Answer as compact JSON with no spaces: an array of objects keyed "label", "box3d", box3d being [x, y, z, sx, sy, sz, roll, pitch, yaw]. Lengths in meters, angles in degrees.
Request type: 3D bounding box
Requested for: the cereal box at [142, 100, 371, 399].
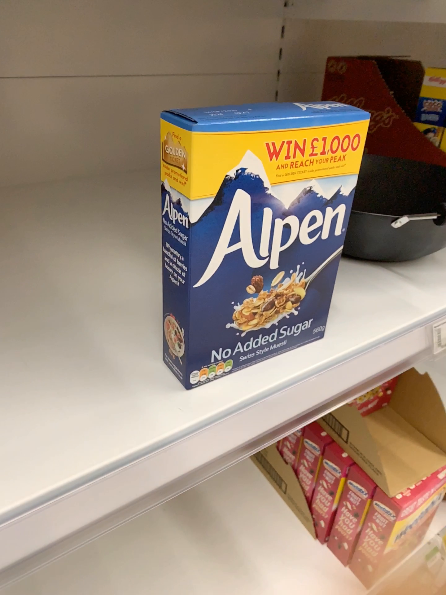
[{"label":"cereal box","box3d":[0.026,-0.046,0.422,0.181,0.238,0.060,-16,35,-29]}]
